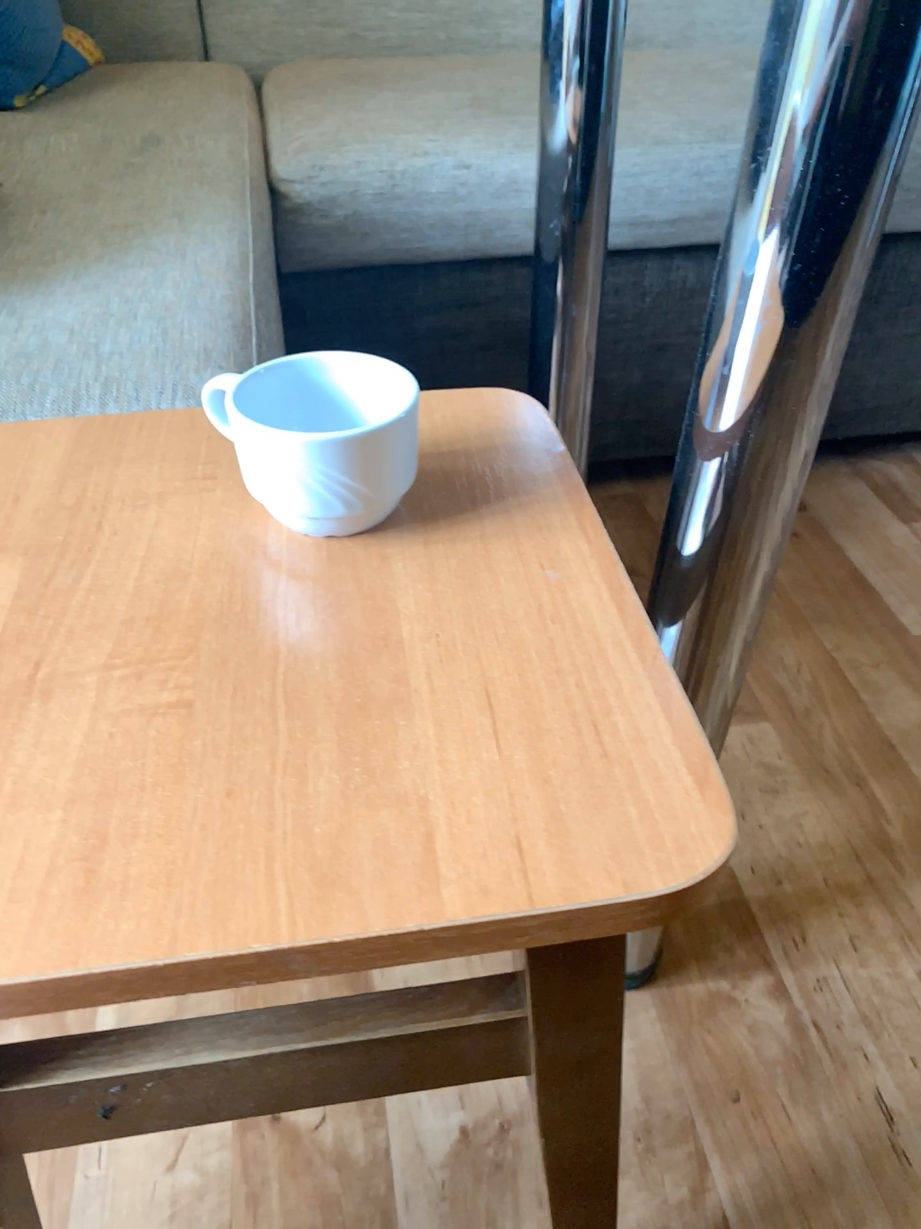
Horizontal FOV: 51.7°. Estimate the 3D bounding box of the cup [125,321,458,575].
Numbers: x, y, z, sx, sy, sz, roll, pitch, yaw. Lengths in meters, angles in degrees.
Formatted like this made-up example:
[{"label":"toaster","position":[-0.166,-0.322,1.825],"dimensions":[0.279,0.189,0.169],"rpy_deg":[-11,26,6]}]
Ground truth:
[{"label":"cup","position":[-0.065,-0.072,0.385],"dimensions":[0.100,0.050,0.080],"rpy_deg":[20,43,24]}]
